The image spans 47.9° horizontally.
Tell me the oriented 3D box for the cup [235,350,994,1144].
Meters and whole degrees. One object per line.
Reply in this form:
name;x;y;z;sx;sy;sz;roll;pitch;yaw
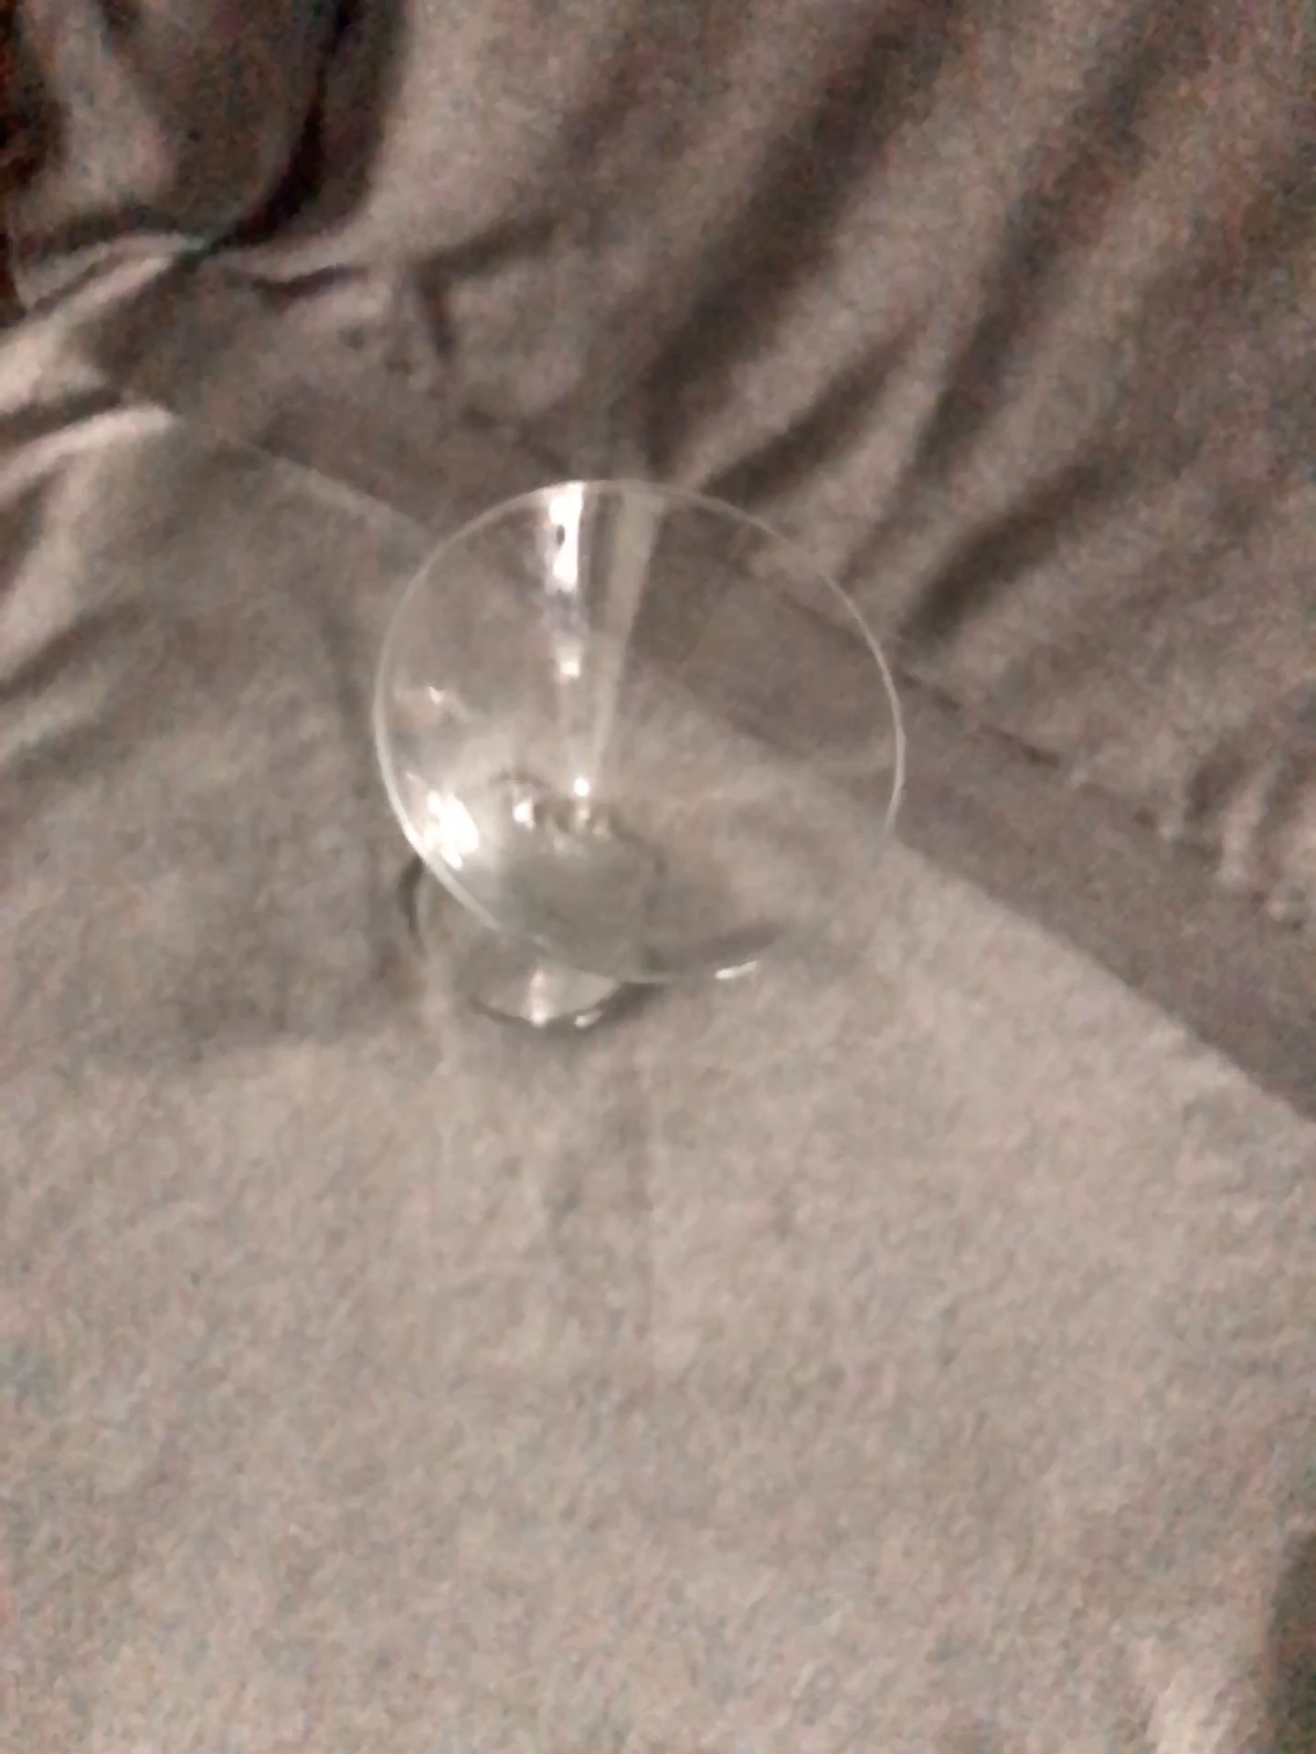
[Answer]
cup;-0.022;-0.017;0.374;0.113;0.157;0.112;3;76;-13
